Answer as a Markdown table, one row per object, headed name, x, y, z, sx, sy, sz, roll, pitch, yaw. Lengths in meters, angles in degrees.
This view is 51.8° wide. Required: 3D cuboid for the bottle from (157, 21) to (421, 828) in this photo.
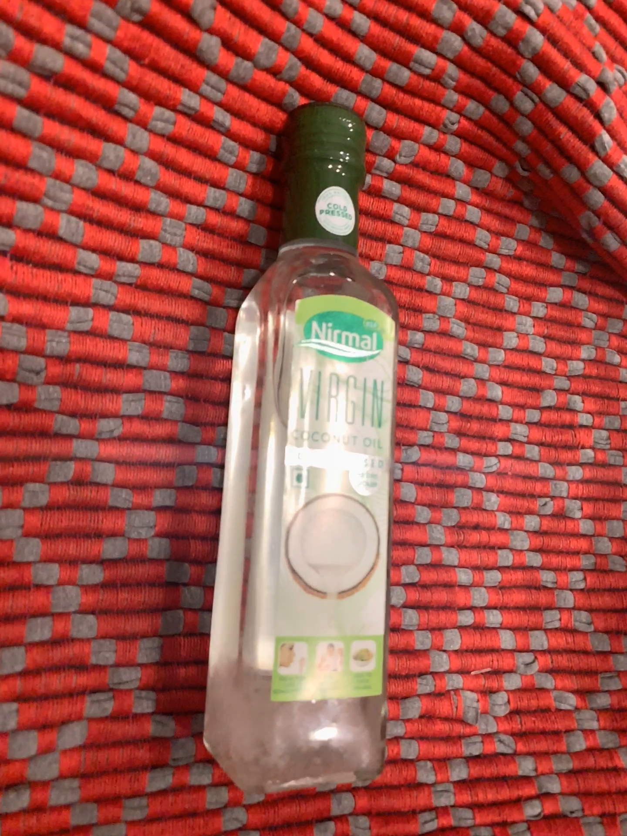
| name | x | y | z | sx | sy | sz | roll | pitch | yaw |
| --- | --- | --- | --- | --- | --- | --- | --- | --- | --- |
| bottle | -0.007 | -0.003 | 0.212 | 0.060 | 0.060 | 0.220 | 7 | 78 | -24 |
